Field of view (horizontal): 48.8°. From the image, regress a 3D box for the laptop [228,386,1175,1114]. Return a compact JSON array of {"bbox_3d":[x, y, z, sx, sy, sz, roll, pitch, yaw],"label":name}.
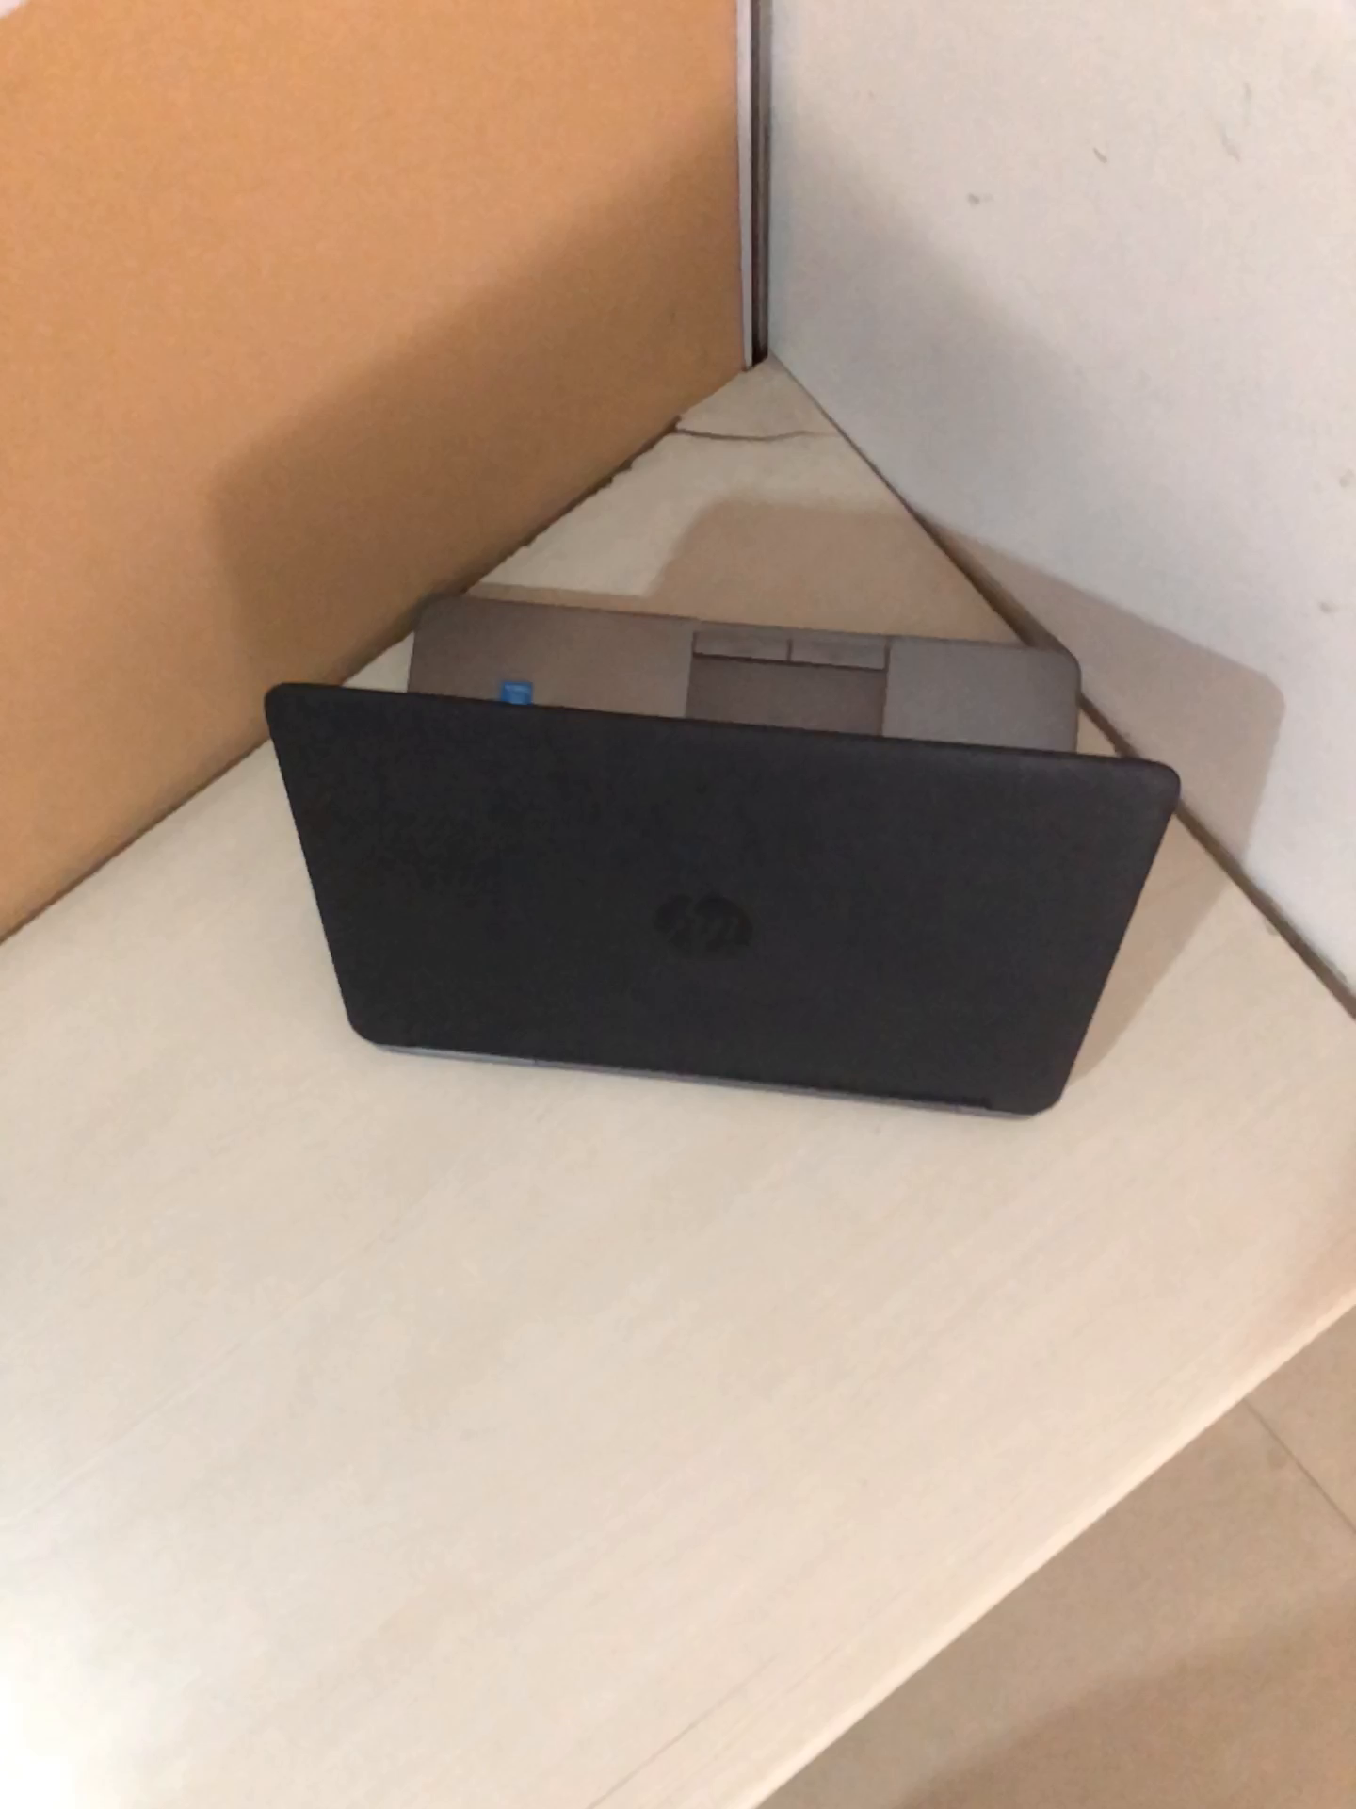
[{"bbox_3d":[0.017,-0.048,0.623,0.318,0.193,0.227,5,80,3],"label":"laptop"}]
